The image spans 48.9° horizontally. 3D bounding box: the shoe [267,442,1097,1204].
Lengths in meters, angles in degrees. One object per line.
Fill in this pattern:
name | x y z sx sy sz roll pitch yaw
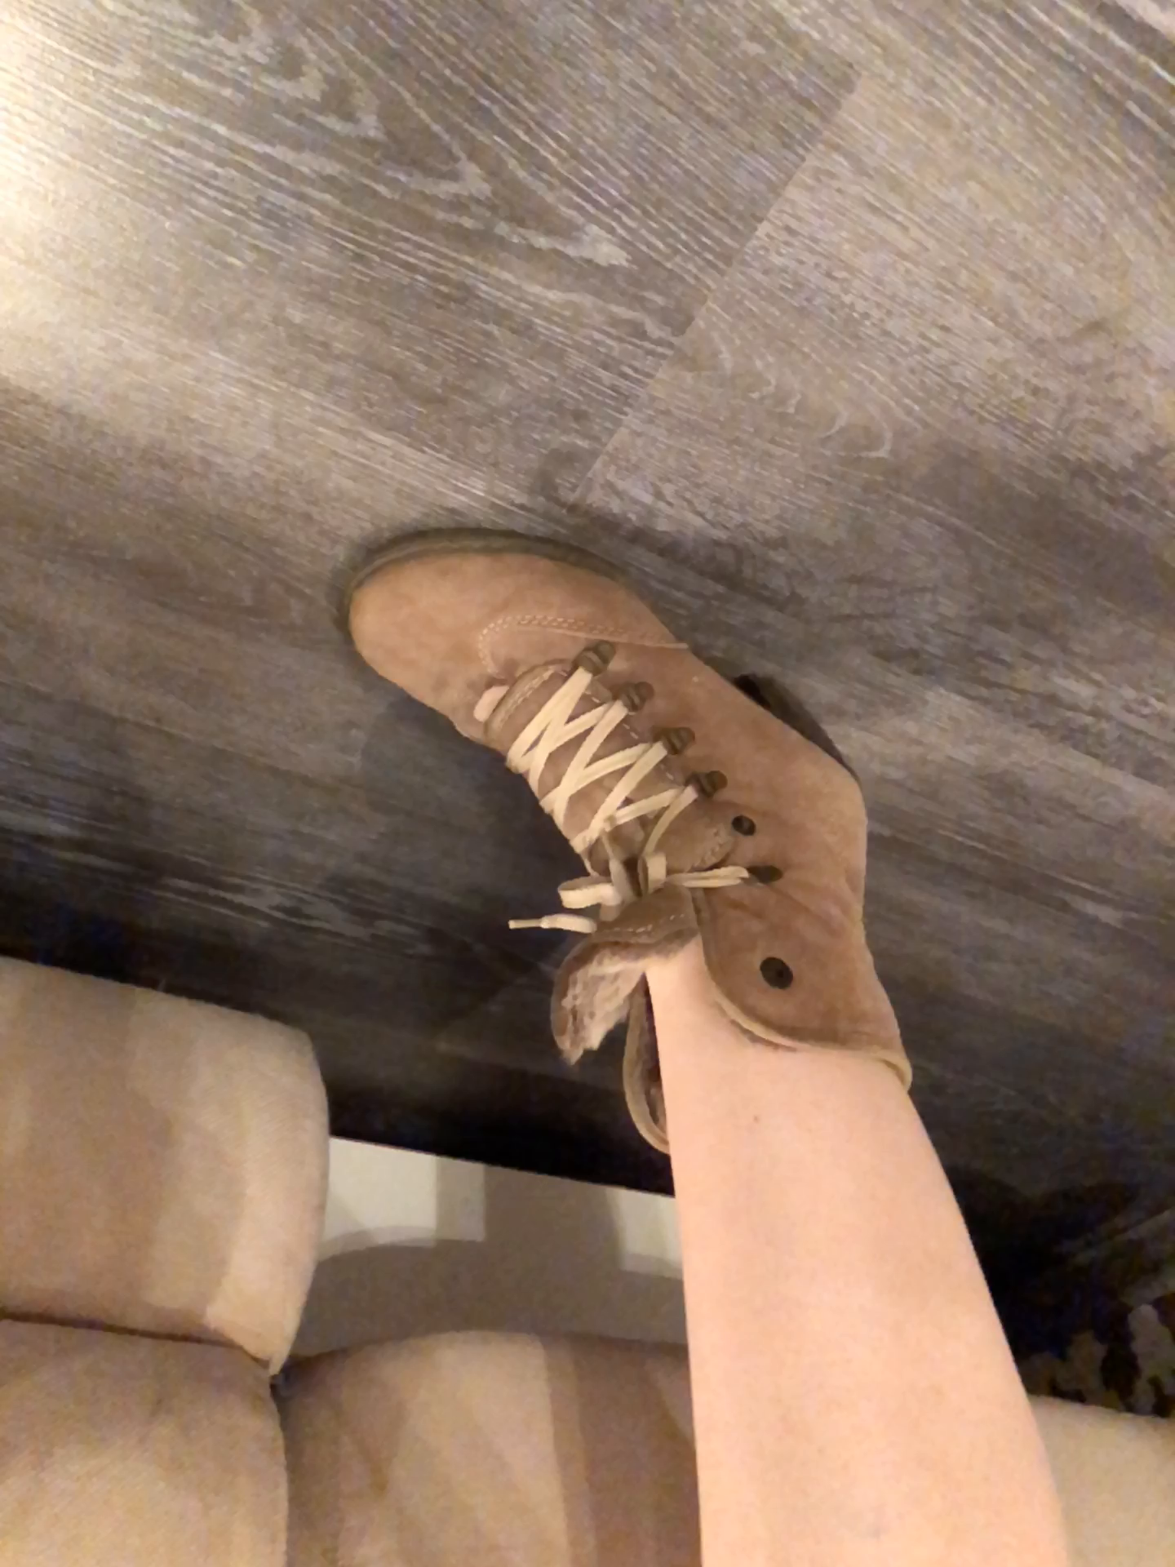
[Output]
shoe | 0.037 0.025 0.530 0.291 0.209 0.110 21 132 -27
